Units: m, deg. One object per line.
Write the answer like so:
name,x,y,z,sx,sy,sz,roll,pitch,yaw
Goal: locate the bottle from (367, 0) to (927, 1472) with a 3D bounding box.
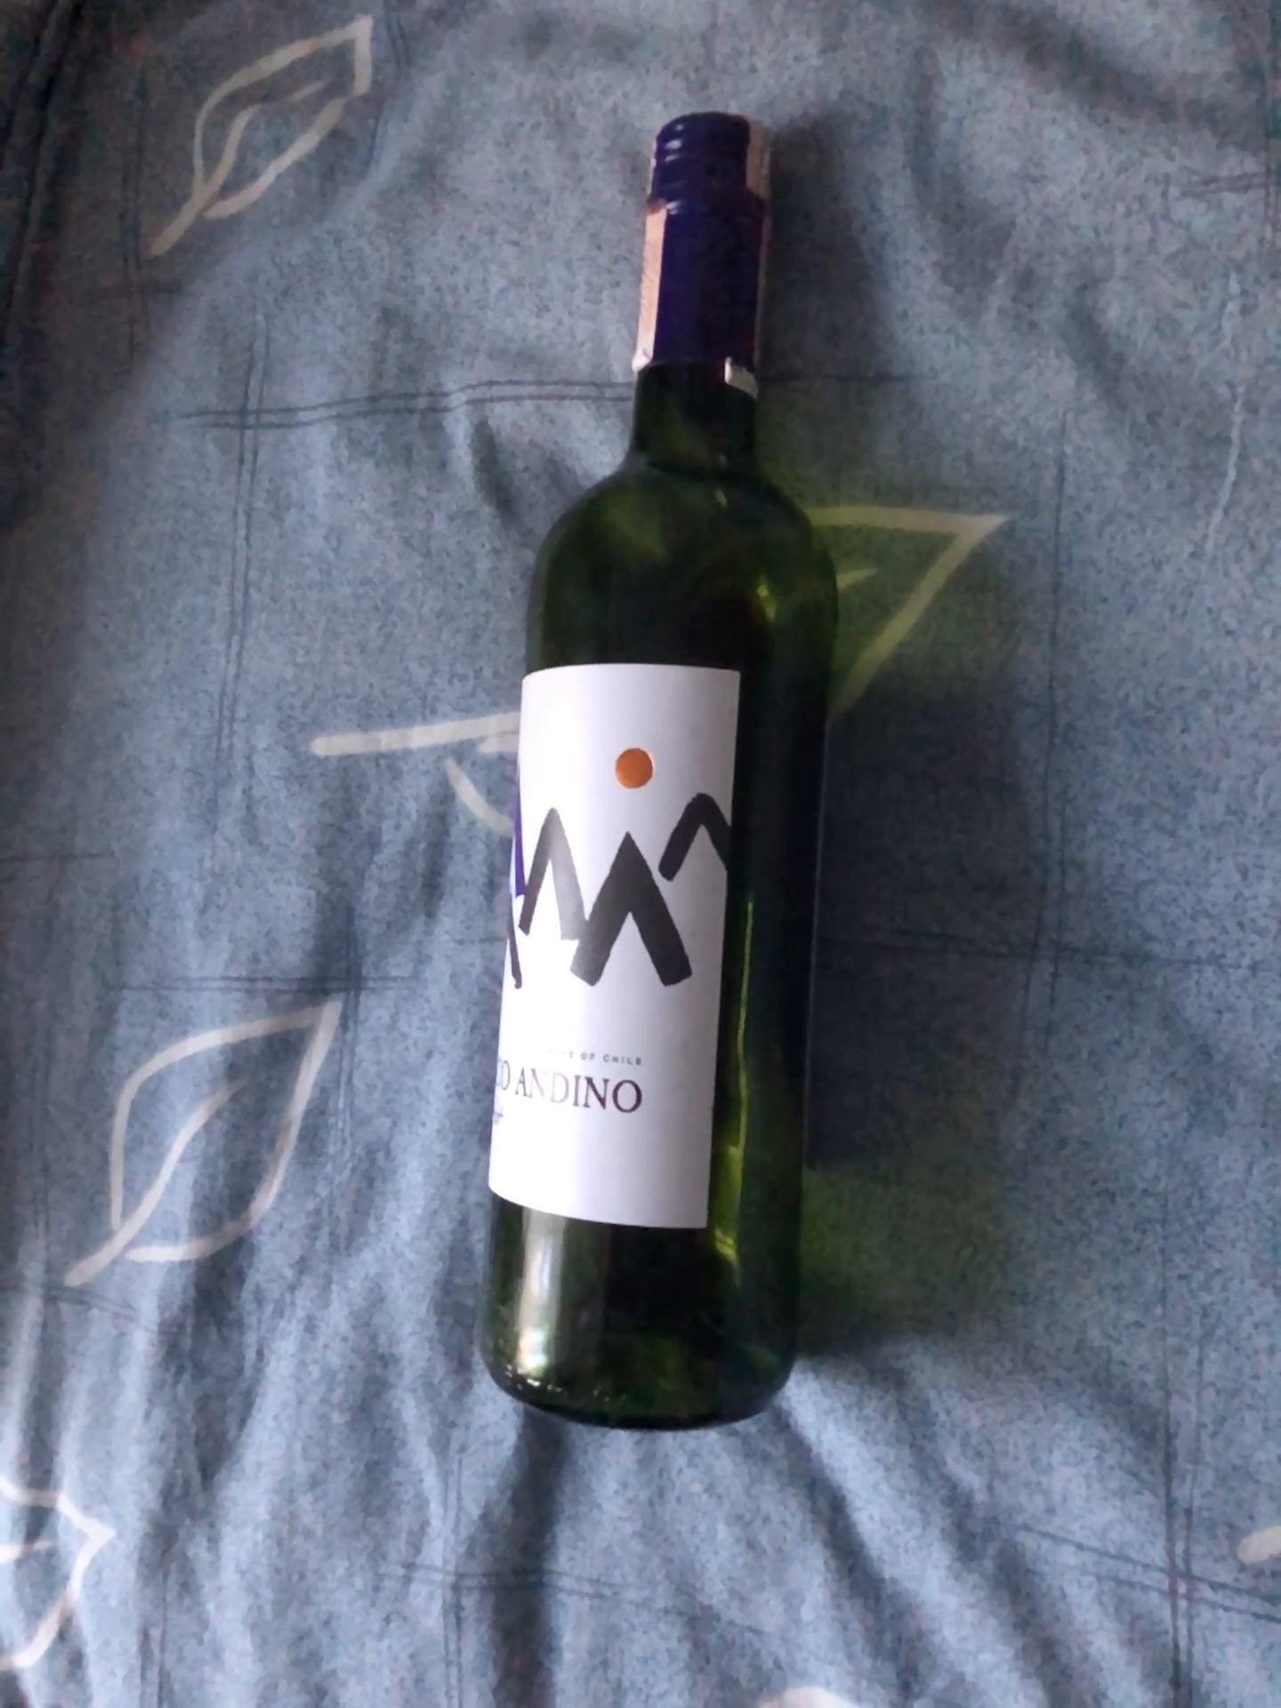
bottle,0.004,-0.025,0.332,0.080,0.080,0.290,1,86,42
